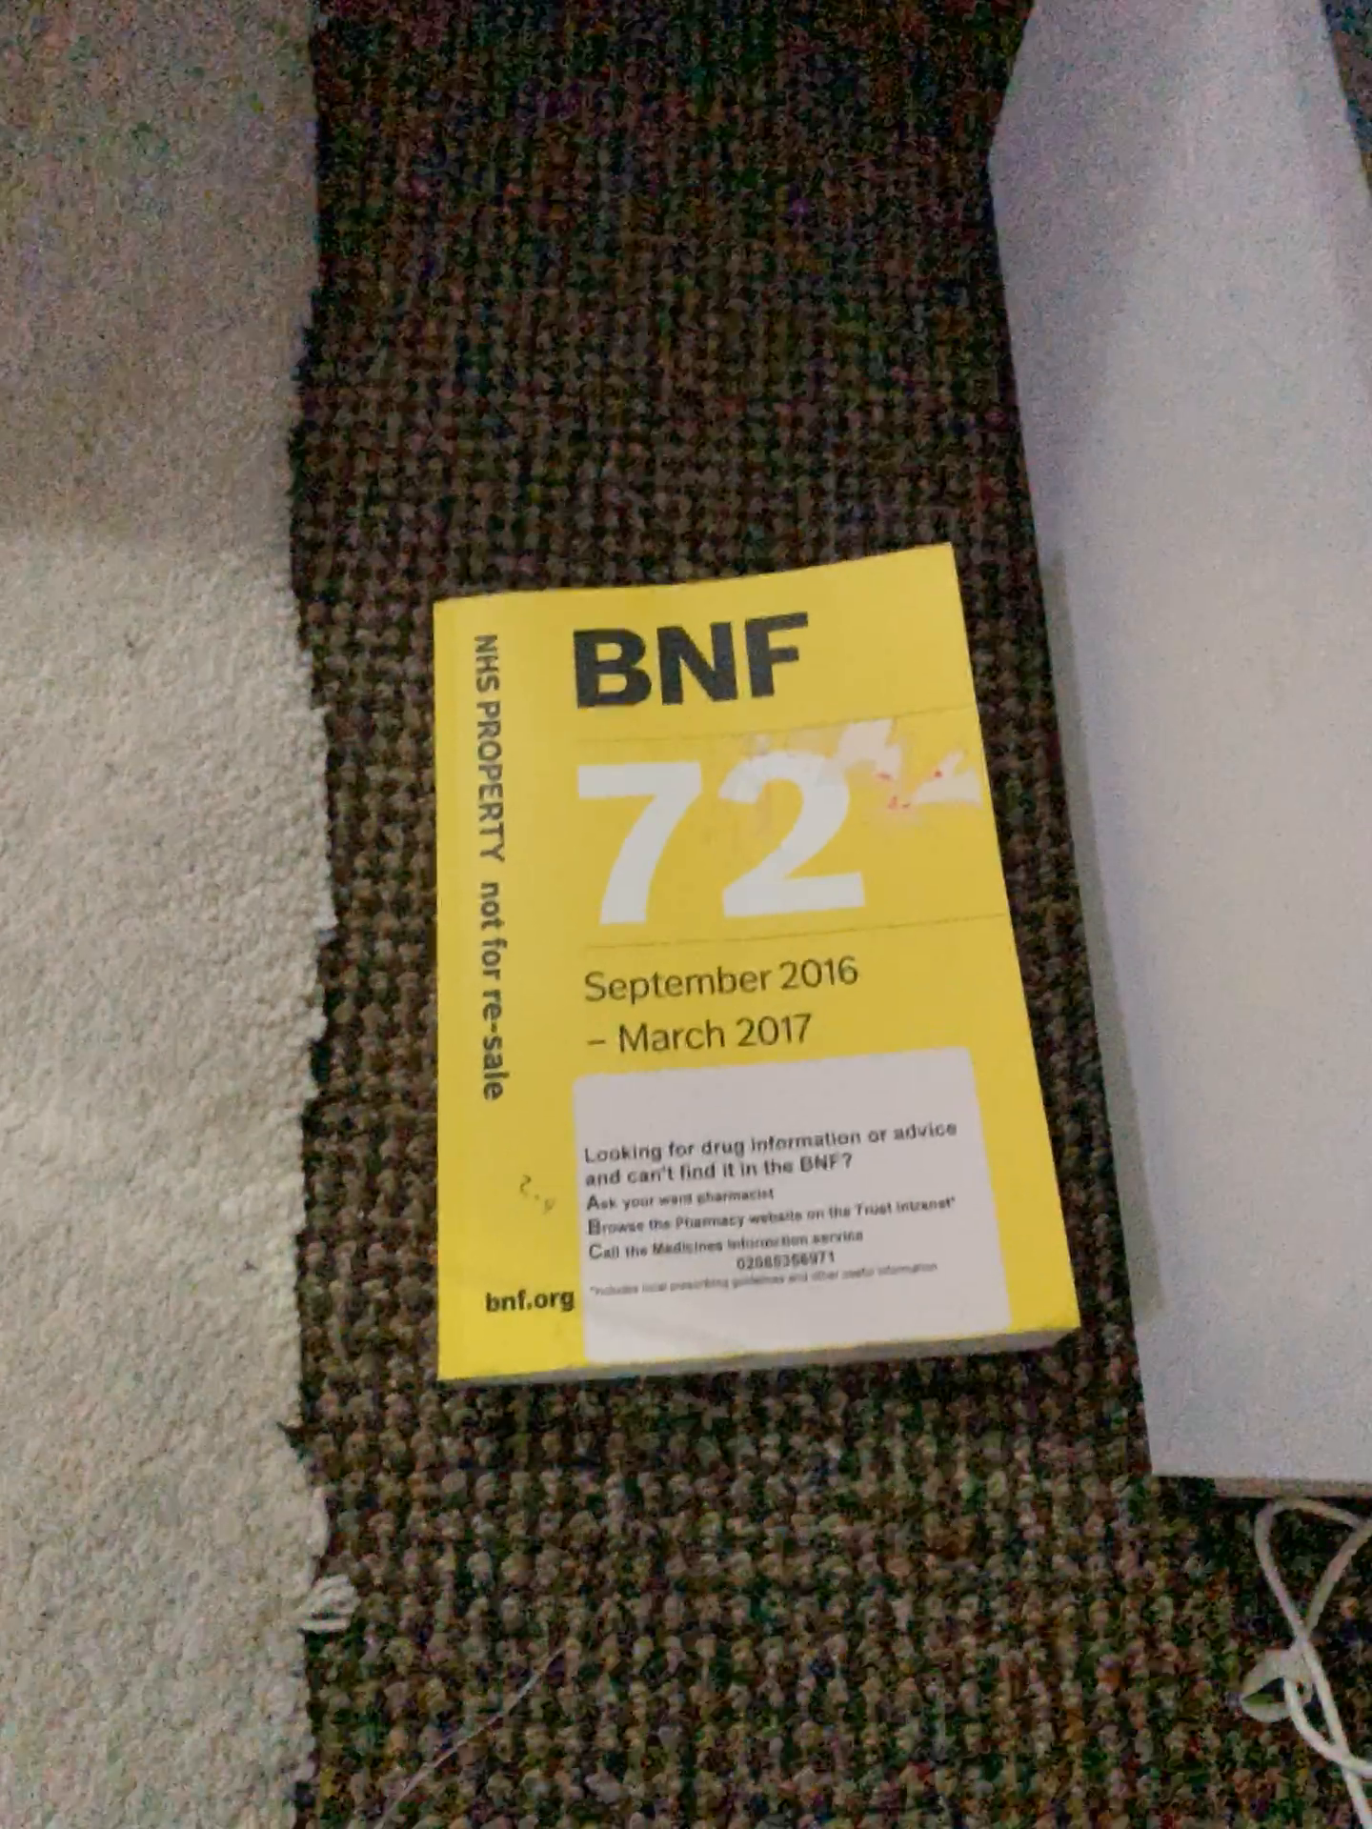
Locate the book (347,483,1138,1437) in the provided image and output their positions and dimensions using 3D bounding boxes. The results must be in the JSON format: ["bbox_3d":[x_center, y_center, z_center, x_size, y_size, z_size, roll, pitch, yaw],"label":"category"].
[{"bbox_3d":[0.002,0.003,0.349,0.160,0.050,0.221,-4,69,-5],"label":"book"}]
